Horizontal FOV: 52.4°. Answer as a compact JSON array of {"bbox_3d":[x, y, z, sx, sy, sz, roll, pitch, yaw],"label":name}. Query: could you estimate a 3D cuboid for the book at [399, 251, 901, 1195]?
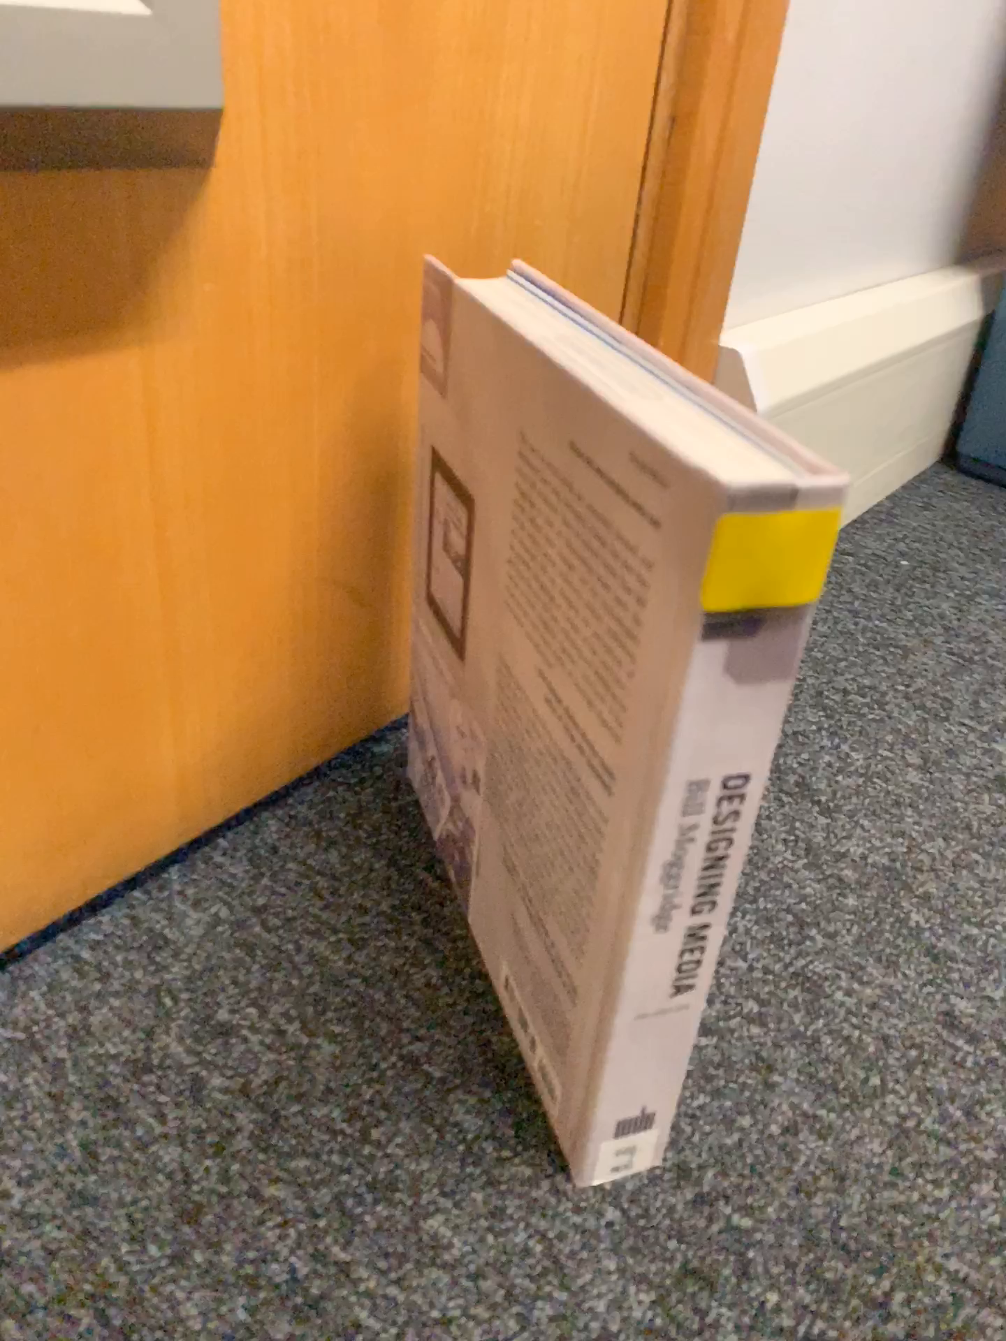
[{"bbox_3d":[0.016,0.004,0.343,0.040,0.231,0.212,-5,33,-19],"label":"book"}]
